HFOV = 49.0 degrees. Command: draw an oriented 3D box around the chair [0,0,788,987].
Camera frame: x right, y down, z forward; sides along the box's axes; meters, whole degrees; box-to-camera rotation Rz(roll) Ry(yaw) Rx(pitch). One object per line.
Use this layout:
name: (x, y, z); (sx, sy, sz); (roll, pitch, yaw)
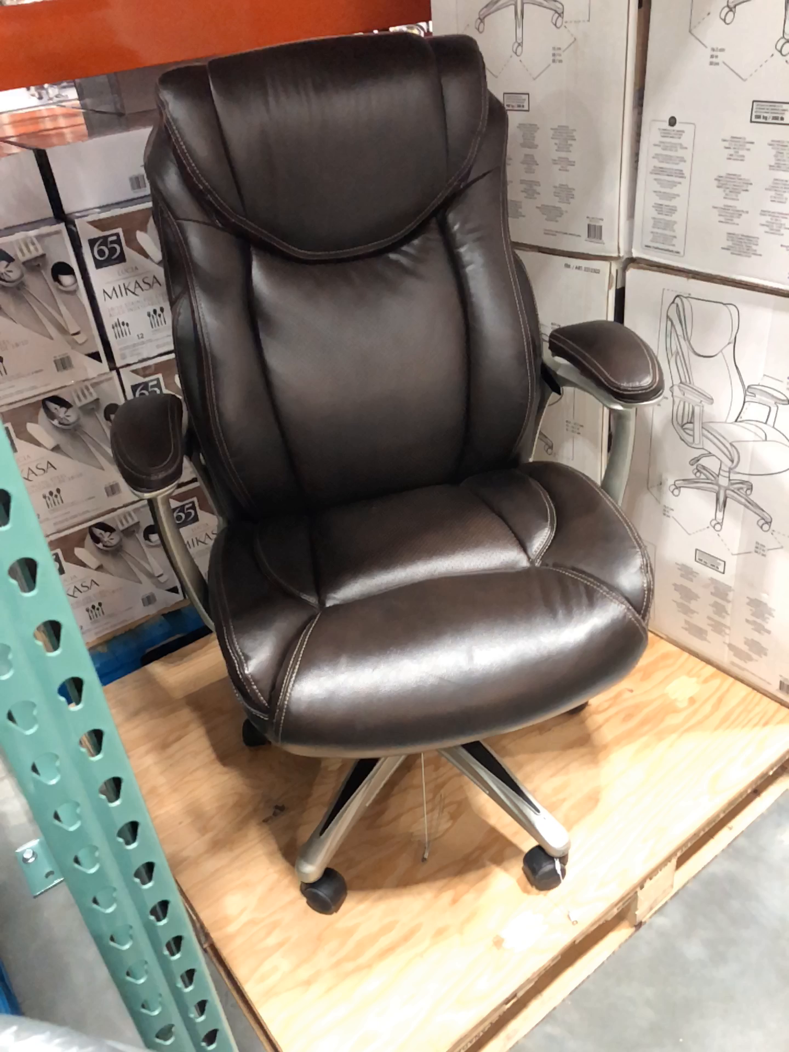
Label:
chair: (-0.013, -0.116, 1.213); (0.660, 1.095, 0.723); (-15, 33, -13)
